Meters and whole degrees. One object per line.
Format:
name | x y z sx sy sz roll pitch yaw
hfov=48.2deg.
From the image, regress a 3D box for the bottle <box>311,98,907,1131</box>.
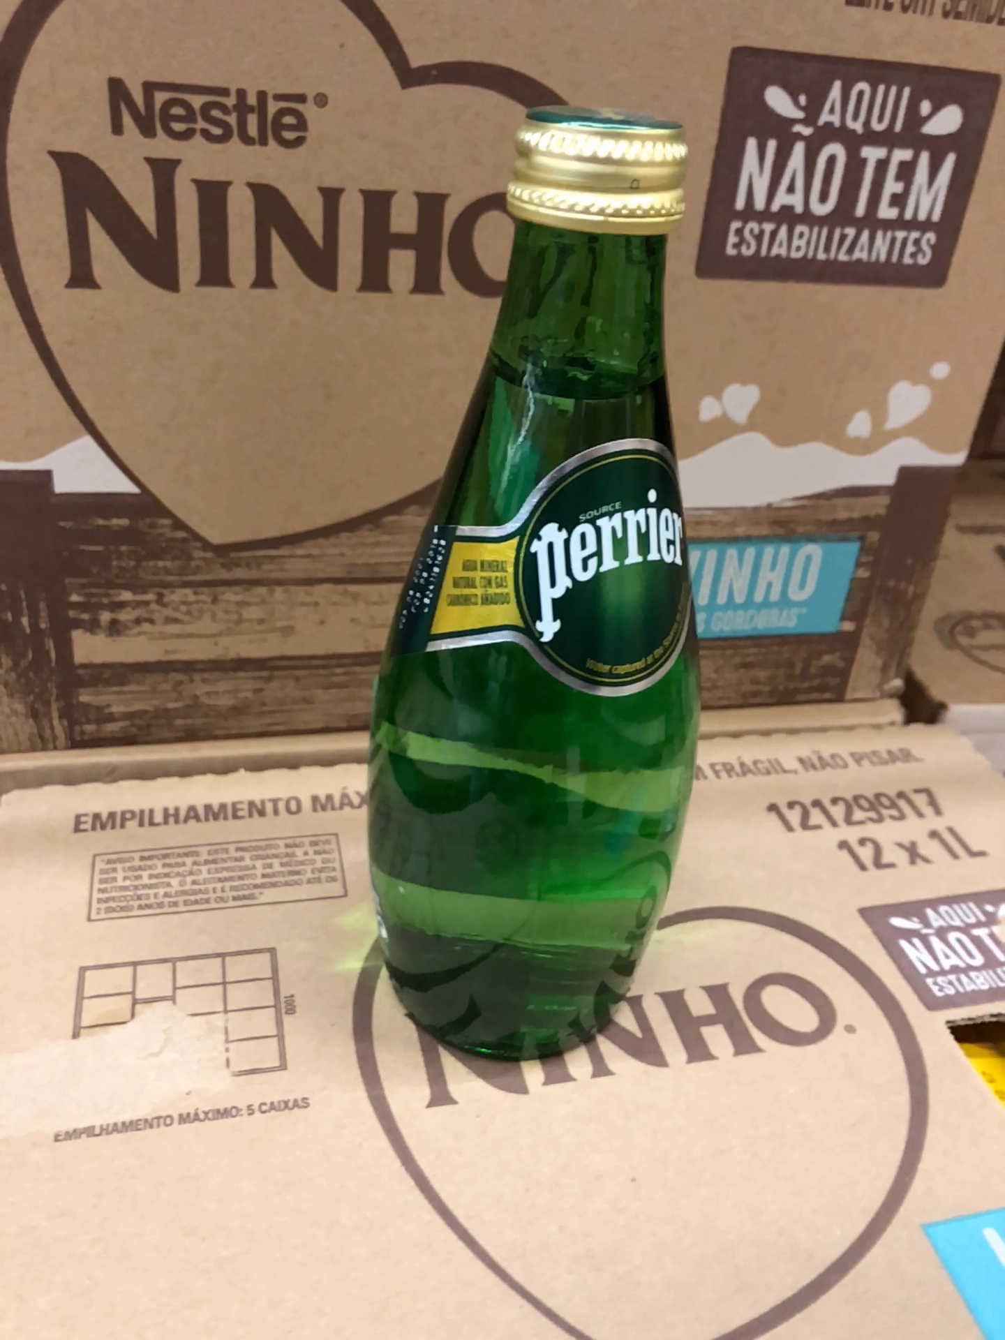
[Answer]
bottle | 0.008 -0.007 0.218 0.070 0.179 0.060 -15 36 -30
